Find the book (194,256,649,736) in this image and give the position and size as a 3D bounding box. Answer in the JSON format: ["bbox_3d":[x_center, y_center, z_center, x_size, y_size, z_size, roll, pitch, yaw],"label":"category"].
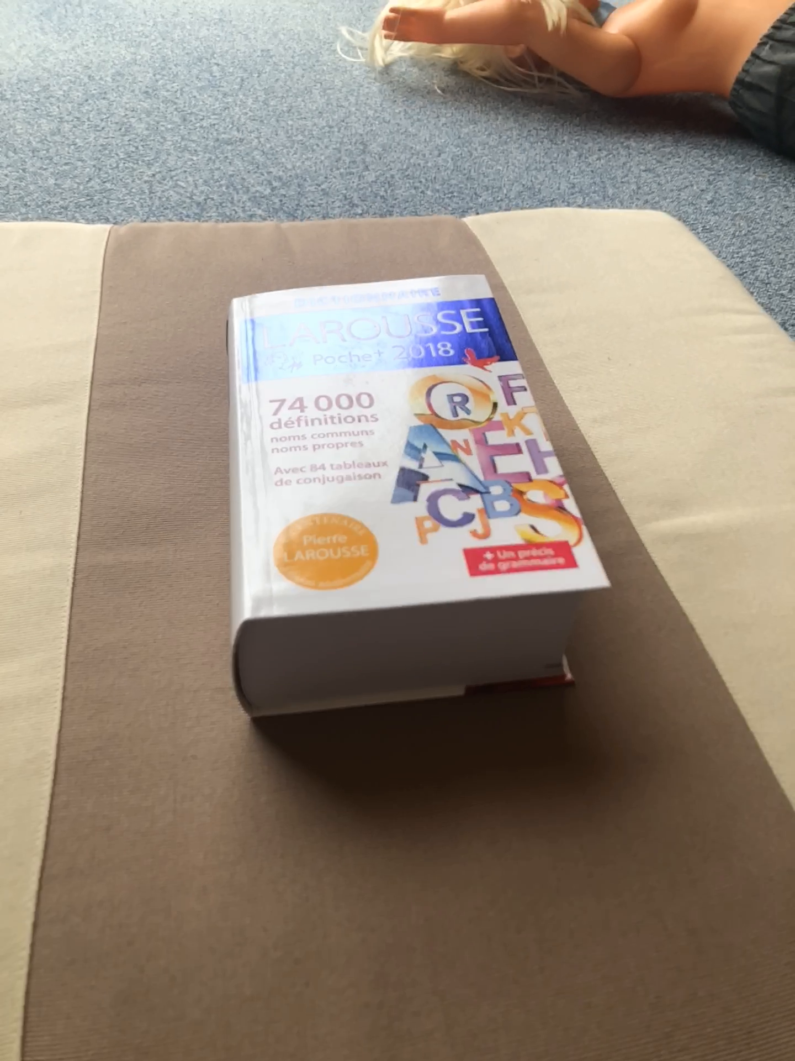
[{"bbox_3d":[-0.006,-0.030,0.339,0.130,0.060,0.201,-4,44,-8],"label":"book"}]
